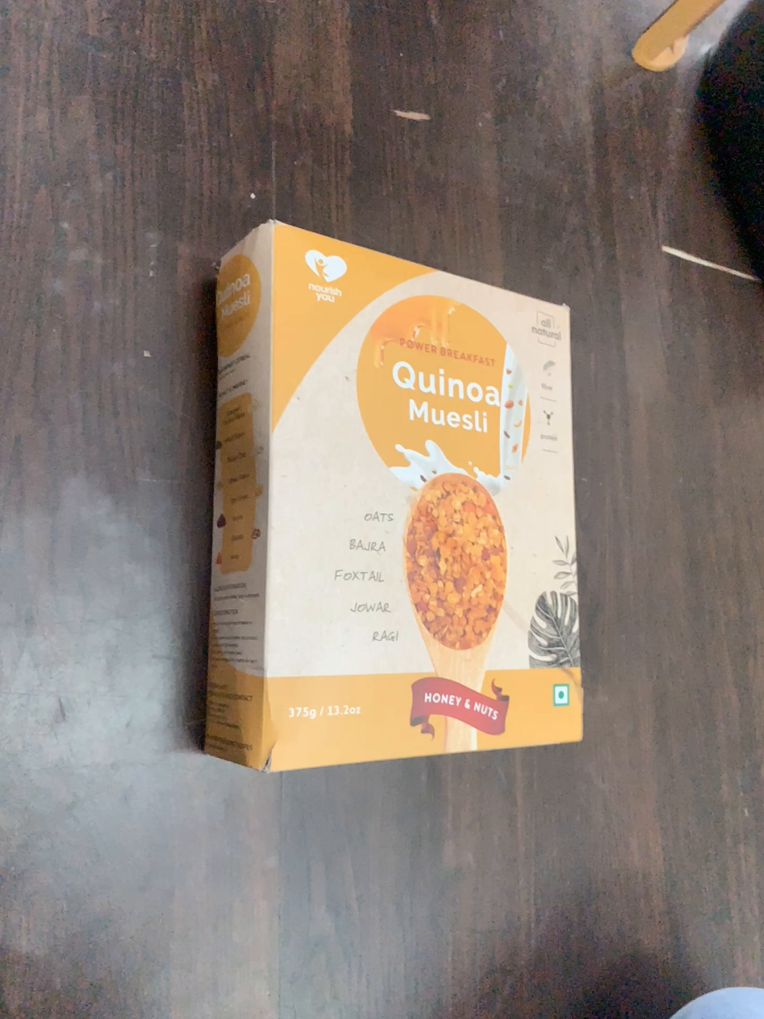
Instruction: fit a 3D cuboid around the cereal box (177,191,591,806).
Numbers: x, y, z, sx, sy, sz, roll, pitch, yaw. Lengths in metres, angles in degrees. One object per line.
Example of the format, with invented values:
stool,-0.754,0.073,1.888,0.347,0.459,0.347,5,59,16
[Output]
cereal box,0.009,0.001,0.349,0.171,0.060,0.220,6,82,-31
